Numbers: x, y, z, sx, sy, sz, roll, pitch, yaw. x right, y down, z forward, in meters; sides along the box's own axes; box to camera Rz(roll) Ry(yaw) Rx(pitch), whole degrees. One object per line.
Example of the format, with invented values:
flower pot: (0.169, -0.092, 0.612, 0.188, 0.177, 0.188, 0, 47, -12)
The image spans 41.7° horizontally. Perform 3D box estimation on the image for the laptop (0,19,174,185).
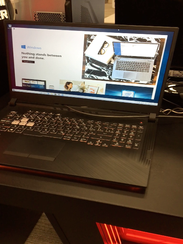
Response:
laptop: (-0.065, -0.078, 0.544, 0.424, 0.233, 0.317, 8, 36, 12)
